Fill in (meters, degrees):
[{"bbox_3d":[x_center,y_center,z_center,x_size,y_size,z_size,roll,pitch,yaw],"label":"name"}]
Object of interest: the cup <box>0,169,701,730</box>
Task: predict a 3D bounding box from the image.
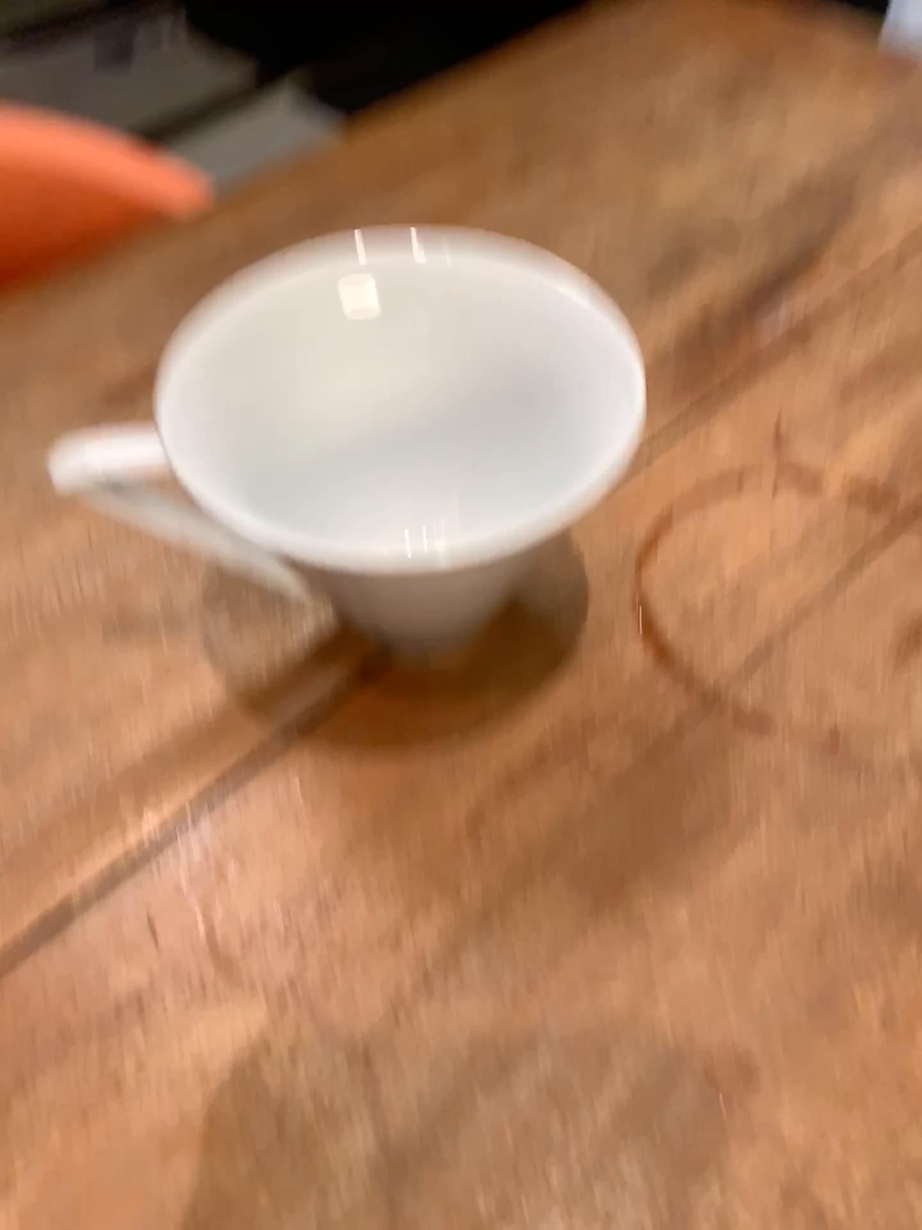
[{"bbox_3d":[-0.025,-0.036,0.198,0.120,0.060,0.090,-5,53,-1],"label":"cup"}]
